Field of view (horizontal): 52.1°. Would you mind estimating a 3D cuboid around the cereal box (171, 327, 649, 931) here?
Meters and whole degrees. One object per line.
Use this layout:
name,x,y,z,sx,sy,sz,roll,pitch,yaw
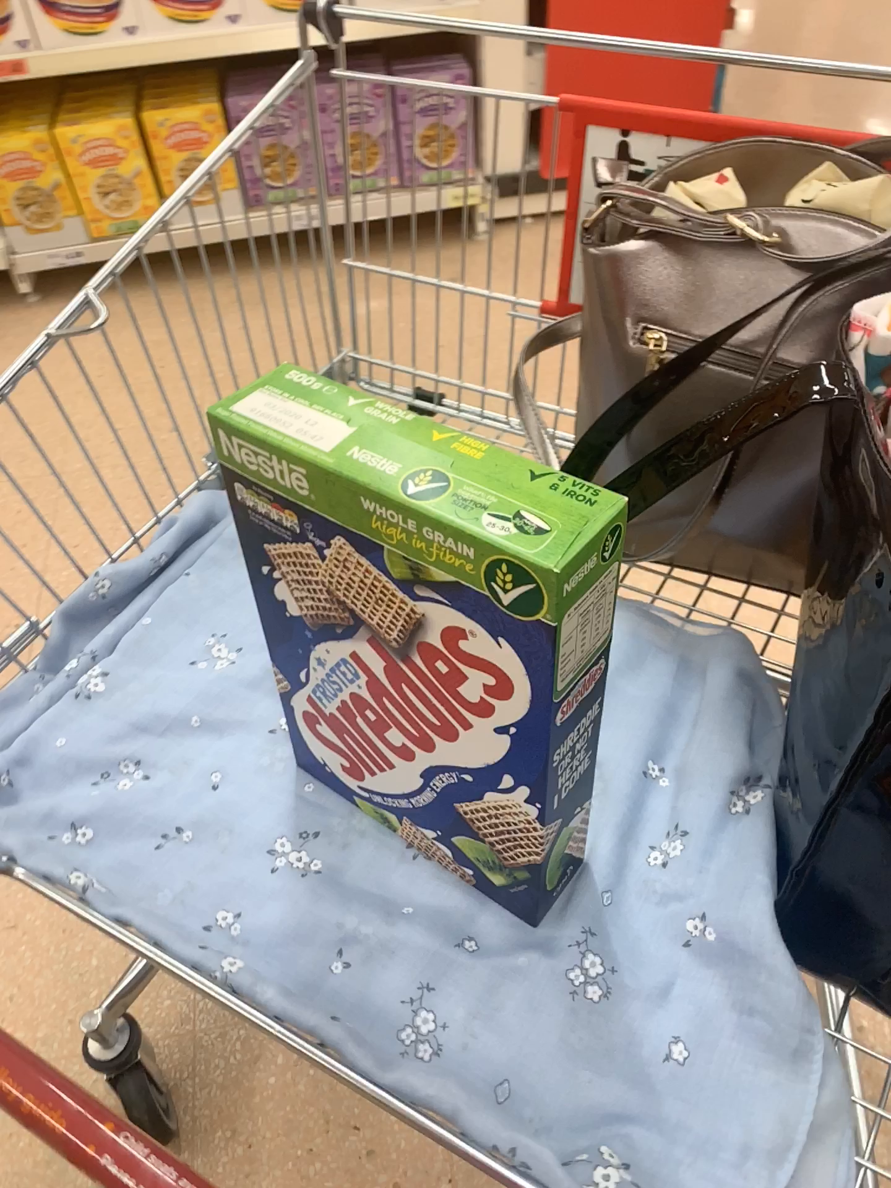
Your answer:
cereal box,-0.016,0.033,0.474,0.201,0.287,0.060,27,53,26
